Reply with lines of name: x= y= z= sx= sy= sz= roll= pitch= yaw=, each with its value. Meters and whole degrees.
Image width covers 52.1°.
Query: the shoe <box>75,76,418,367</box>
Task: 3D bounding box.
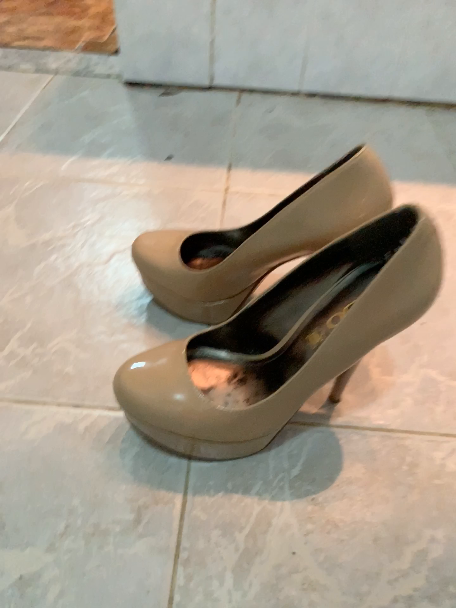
shoe: x=0.013 y=-0.060 z=0.372 sx=0.210 sy=0.176 sz=0.087 roll=12 pitch=47 yaw=8

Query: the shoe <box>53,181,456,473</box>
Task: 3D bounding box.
shoe: x=0.021 y=0.020 z=0.301 sx=0.210 sy=0.166 sz=0.087 roll=-4 pitch=47 yaw=-7
